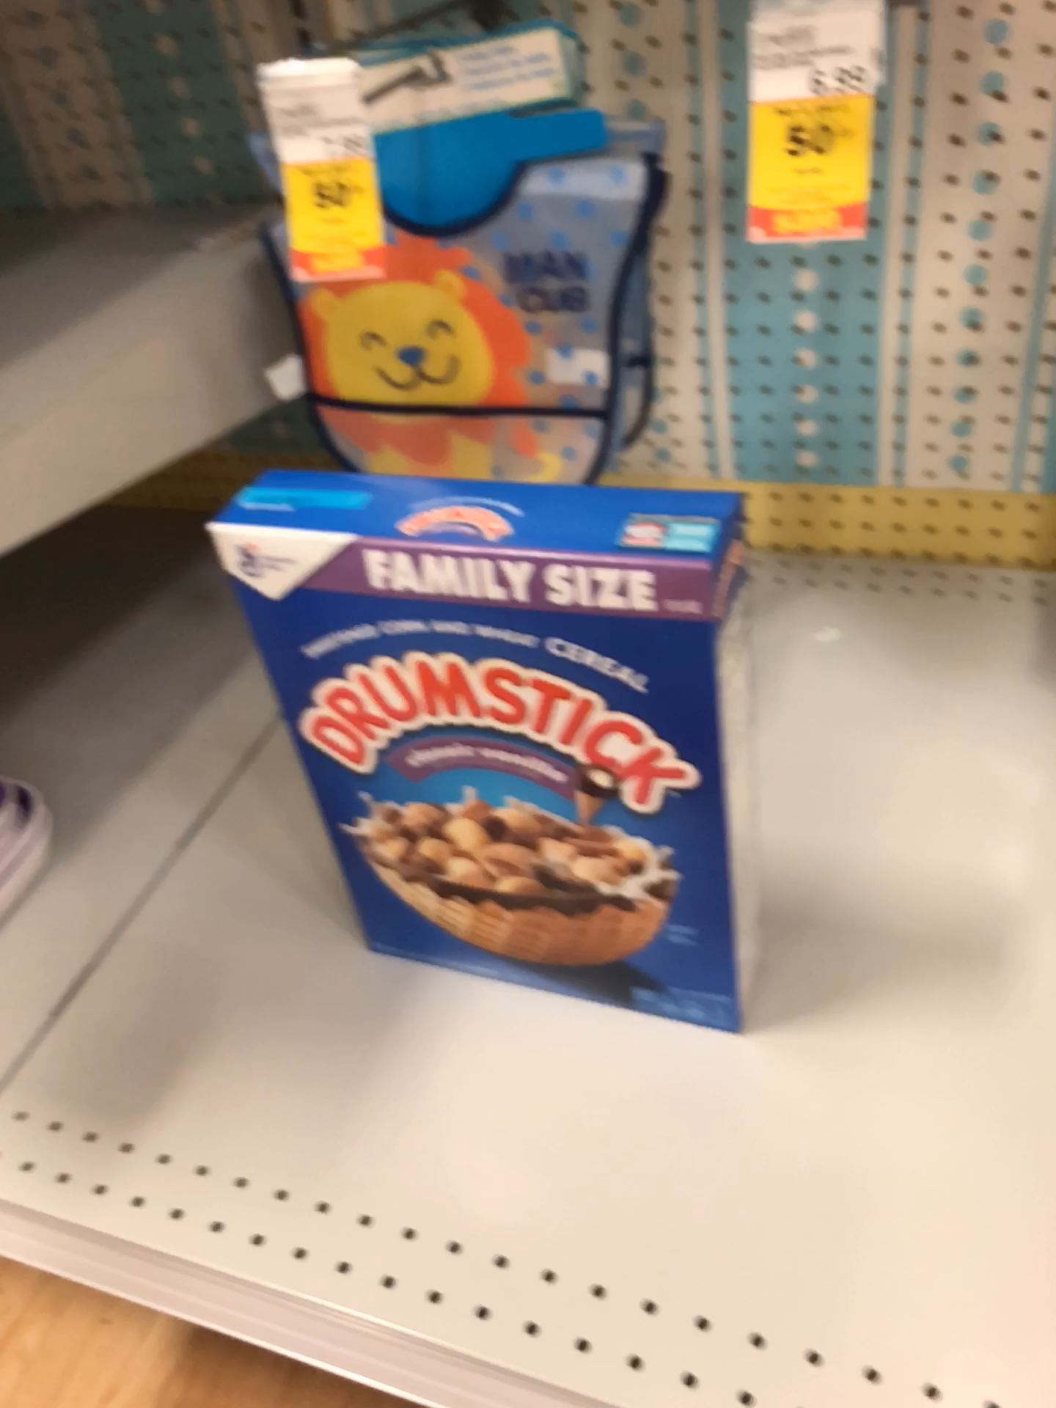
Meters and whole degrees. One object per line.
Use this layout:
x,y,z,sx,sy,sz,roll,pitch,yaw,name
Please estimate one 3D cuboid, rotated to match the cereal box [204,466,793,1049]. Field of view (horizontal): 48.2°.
0.002,0.033,0.610,0.250,0.299,0.070,7,41,22,cereal box
